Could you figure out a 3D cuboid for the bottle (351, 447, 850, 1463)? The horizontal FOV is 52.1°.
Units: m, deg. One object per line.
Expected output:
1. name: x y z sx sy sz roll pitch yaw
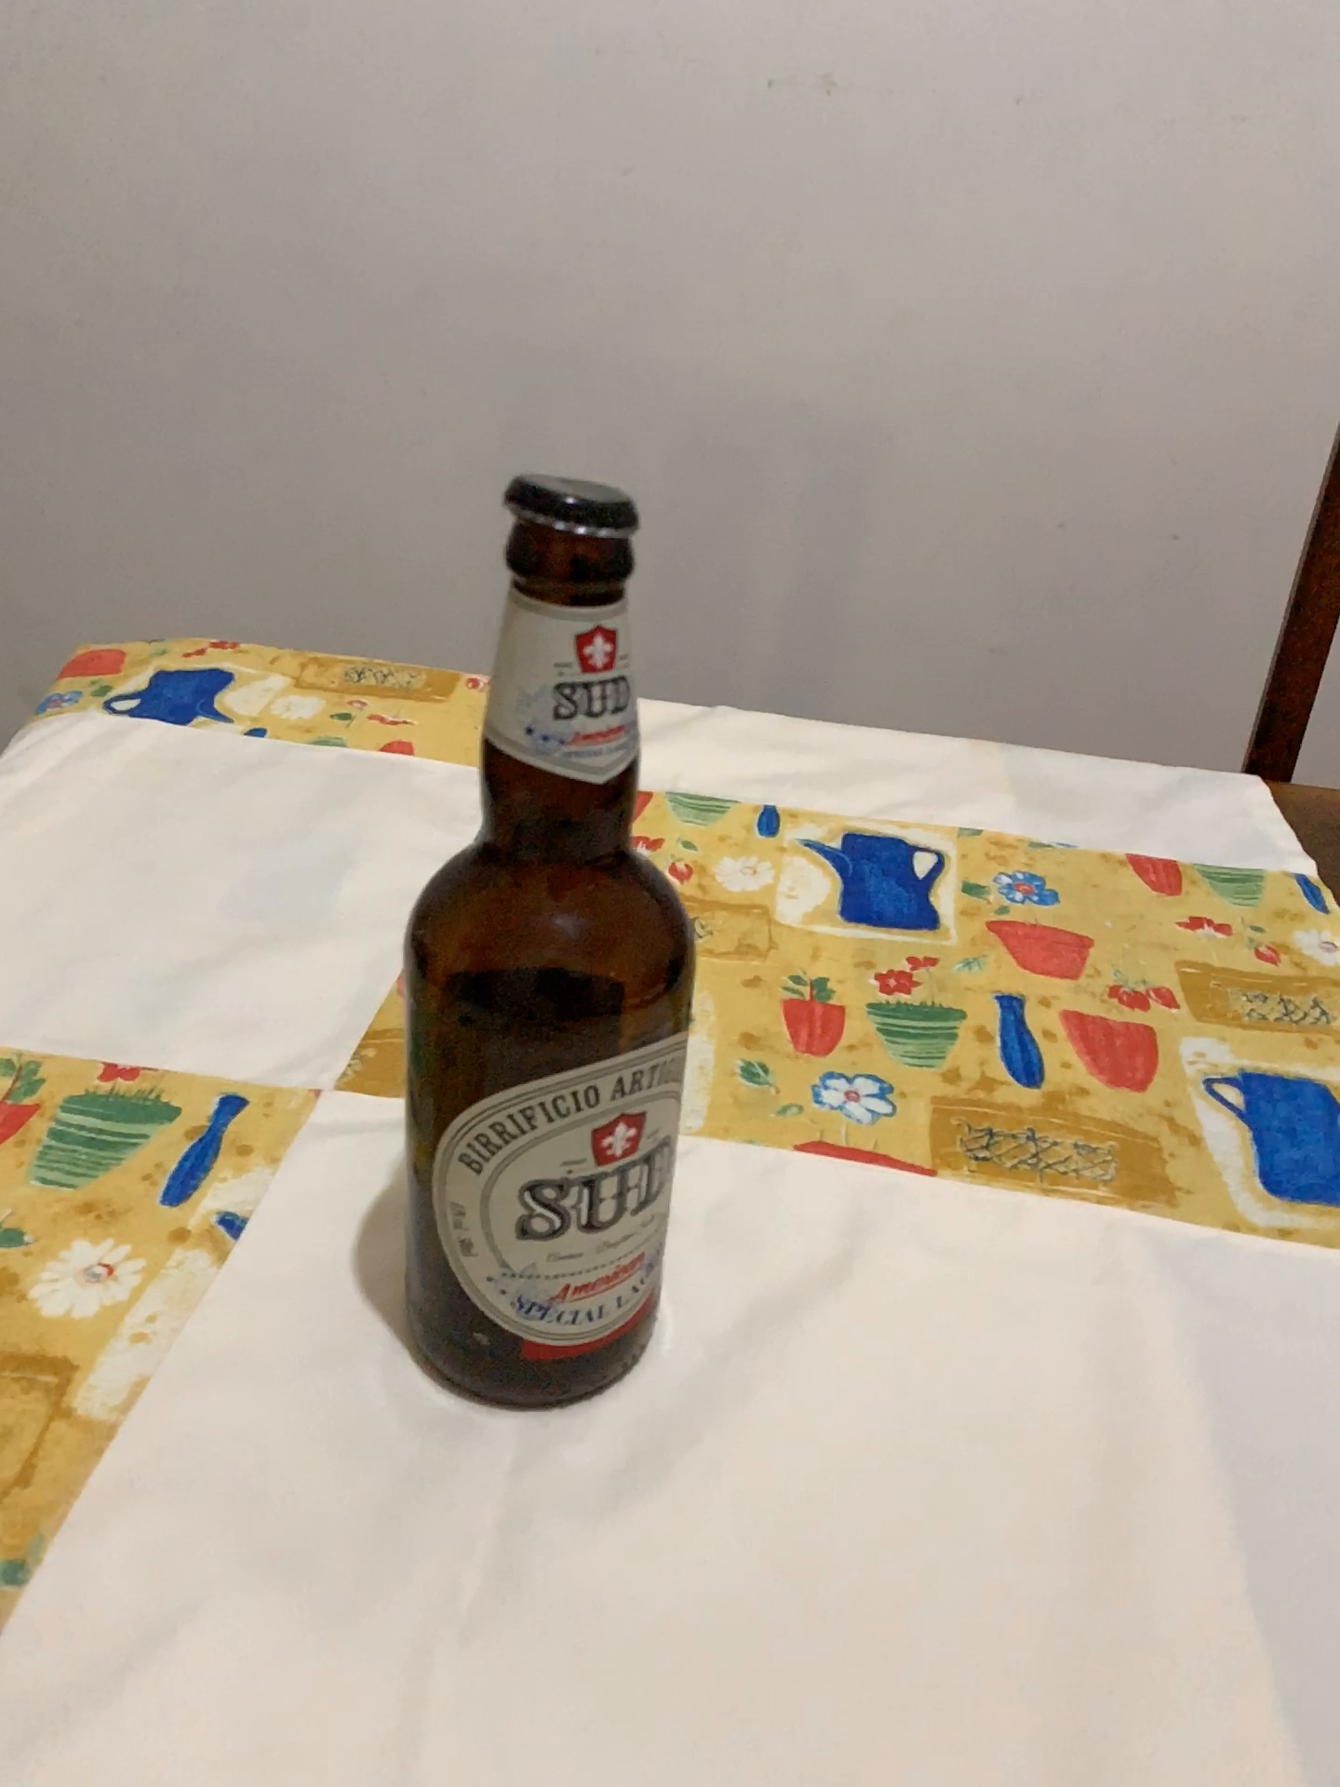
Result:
1. bottle: -0.026 0.020 0.346 0.080 0.239 0.070 -15 35 -34
